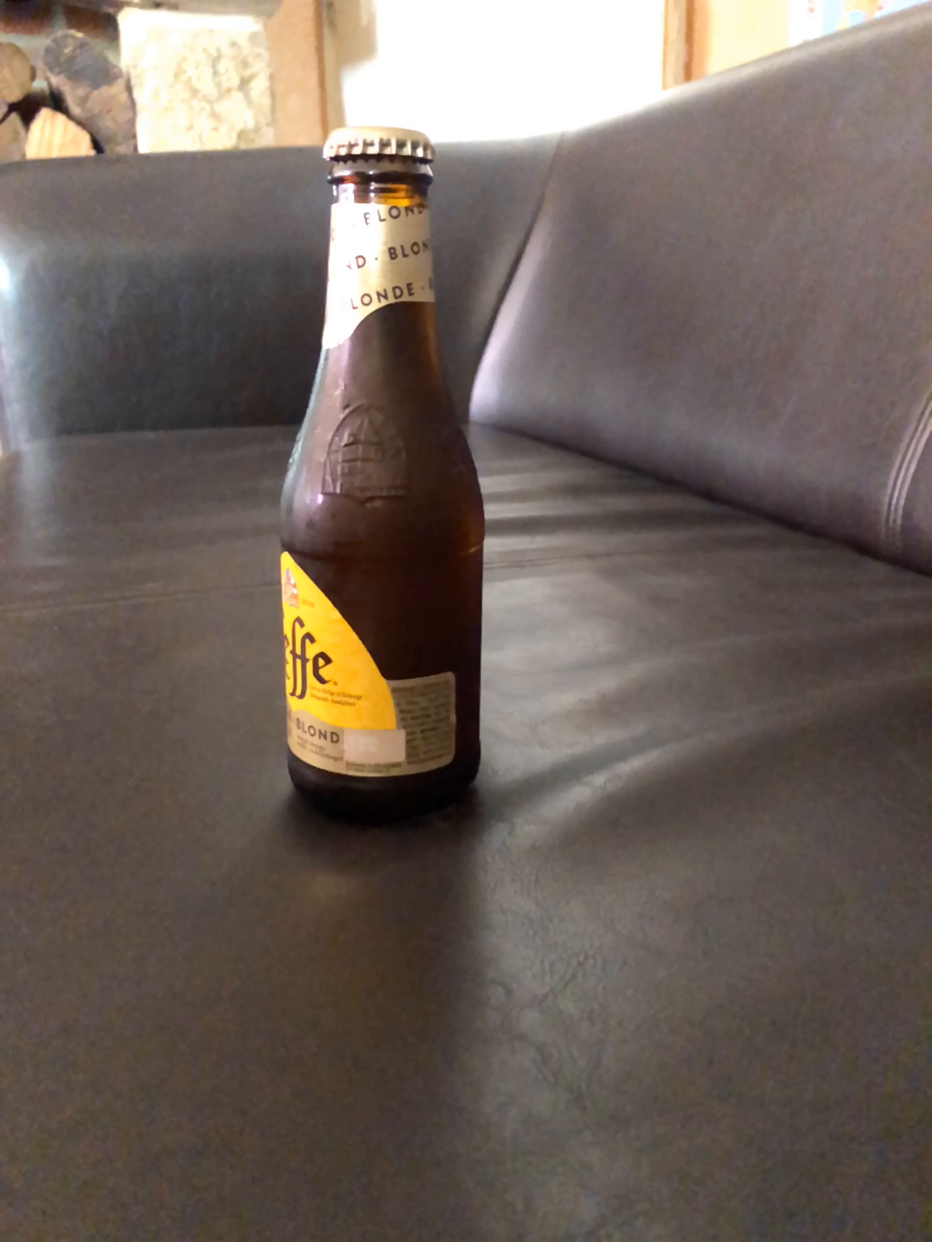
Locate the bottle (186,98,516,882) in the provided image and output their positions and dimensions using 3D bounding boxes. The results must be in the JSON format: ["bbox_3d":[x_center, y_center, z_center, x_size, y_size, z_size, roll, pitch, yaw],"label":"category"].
[{"bbox_3d":[-0.029,-0.034,0.287,0.060,0.189,0.060,-2,17,0],"label":"bottle"}]
